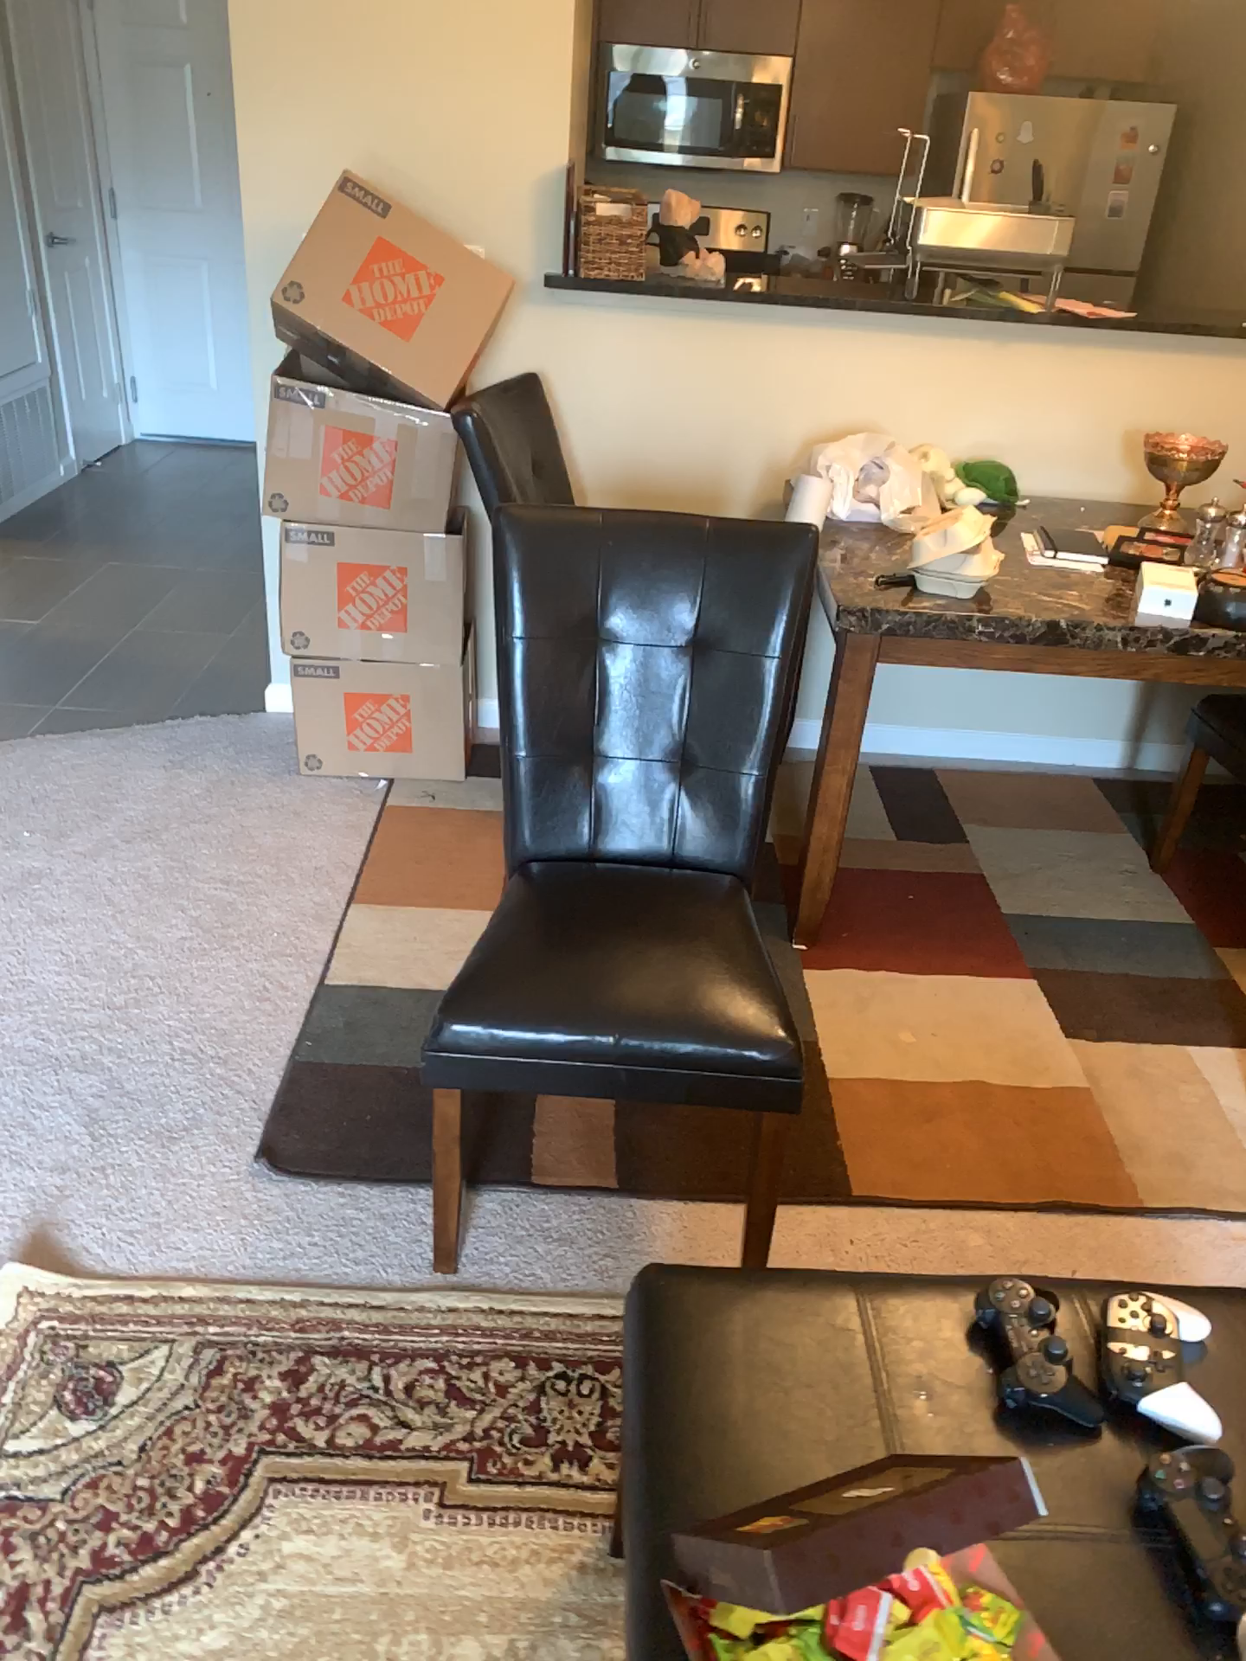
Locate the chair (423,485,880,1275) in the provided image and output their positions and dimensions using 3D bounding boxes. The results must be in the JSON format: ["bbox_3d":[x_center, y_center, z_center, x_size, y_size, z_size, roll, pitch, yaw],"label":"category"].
[{"bbox_3d":[0.009,0.052,1.858,0.490,0.915,0.654,4,29,0],"label":"chair"}]
